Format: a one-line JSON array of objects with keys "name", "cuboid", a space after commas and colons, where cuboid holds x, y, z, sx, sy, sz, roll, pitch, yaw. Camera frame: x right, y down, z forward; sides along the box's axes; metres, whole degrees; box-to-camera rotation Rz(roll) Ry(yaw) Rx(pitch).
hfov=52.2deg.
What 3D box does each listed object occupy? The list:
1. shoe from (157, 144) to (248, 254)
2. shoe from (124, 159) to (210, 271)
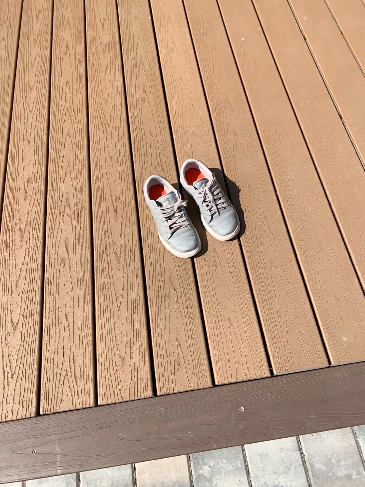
[{"name": "shoe", "cuboid": [0.052, -0.133, 1.067, 0.120, 0.100, 0.291, -27, 64, -9]}, {"name": "shoe", "cuboid": [-0.044, -0.082, 1.032, 0.120, 0.100, 0.281, -26, 64, -9]}]
